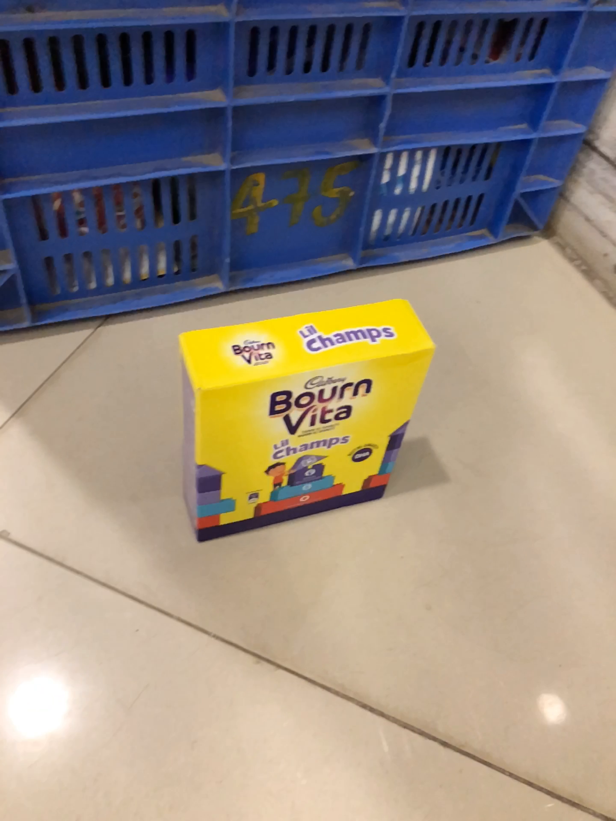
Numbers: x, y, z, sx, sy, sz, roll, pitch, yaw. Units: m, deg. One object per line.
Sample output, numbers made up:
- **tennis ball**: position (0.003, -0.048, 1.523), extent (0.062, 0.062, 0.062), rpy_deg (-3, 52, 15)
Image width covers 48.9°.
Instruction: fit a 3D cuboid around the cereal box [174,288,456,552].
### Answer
- **cereal box**: position (-0.004, 0.011, 0.441), extent (0.150, 0.169, 0.050), rpy_deg (-10, 51, -17)
